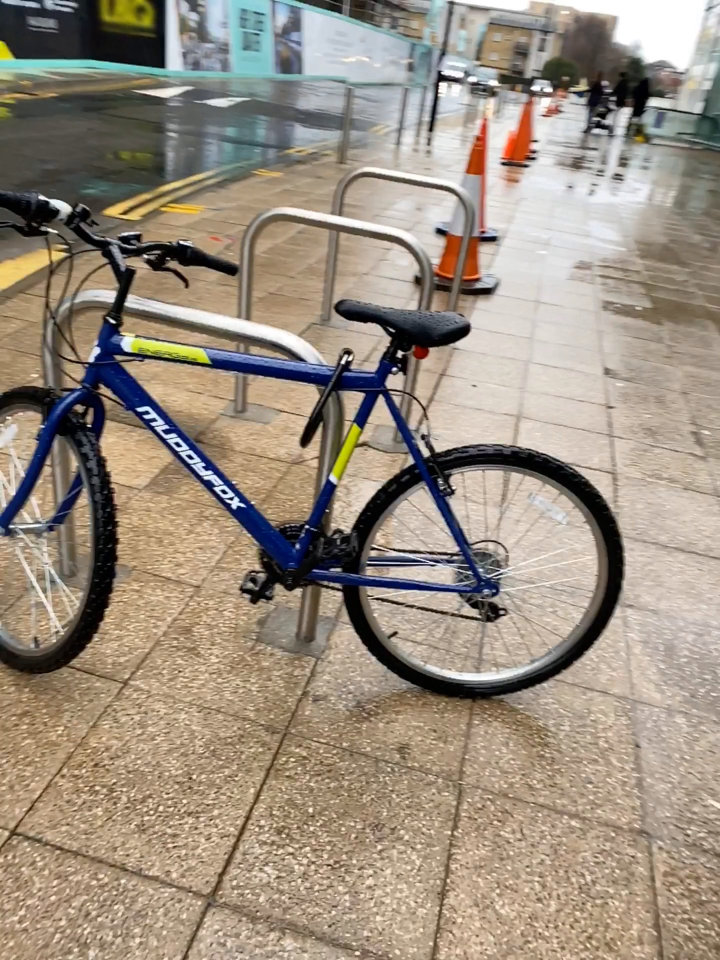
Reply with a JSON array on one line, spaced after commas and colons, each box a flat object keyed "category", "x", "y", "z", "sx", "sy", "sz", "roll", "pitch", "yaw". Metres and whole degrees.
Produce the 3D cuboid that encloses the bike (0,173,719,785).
[{"category": "bike", "x": -0.174, "y": -0.039, "z": 1.655, "sx": 1.592, "sy": 1.012, "sz": 0.601, "roll": 9, "pitch": 30, "yaw": 5}]
